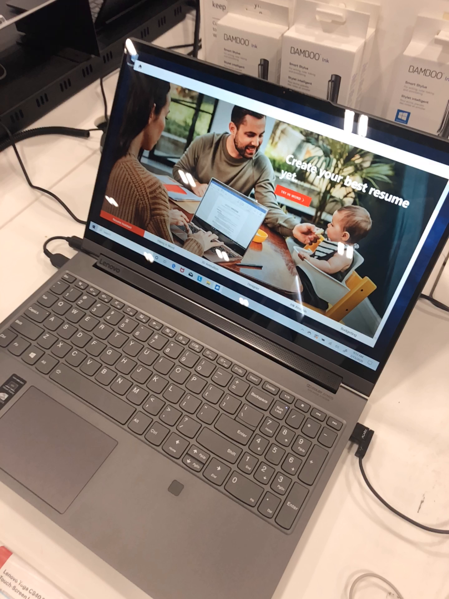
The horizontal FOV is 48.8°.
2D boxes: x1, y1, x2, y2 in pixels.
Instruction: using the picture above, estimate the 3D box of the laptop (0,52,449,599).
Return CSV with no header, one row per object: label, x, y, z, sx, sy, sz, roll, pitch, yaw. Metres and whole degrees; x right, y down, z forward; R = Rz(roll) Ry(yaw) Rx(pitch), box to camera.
laptop,-0.041,-0.004,0.425,0.346,0.189,0.368,26,56,19
